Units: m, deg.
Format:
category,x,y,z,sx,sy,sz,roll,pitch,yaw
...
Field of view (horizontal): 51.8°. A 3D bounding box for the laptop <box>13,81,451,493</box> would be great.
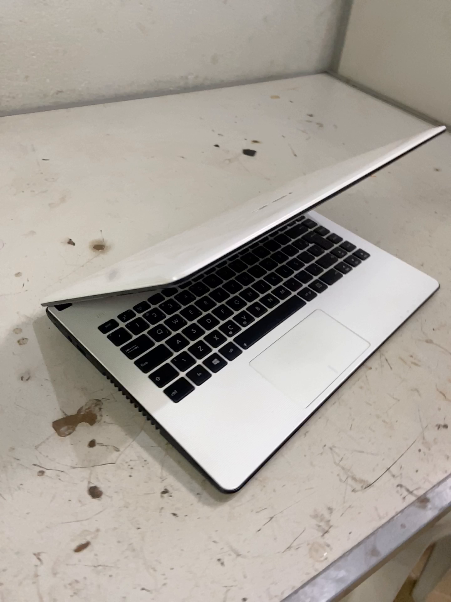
category,x,y,z,sx,sy,sz,roll,pitch,yaw
laptop,0.043,-0.061,0.426,0.236,0.141,0.344,36,49,28
